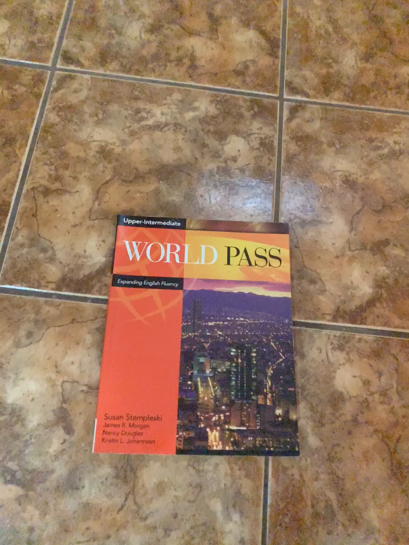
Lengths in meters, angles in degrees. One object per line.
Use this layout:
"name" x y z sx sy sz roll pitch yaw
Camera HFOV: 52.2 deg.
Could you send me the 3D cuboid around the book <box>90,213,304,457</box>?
"book" -0.004 0.062 0.479 0.219 0.016 0.271 2 70 -3
